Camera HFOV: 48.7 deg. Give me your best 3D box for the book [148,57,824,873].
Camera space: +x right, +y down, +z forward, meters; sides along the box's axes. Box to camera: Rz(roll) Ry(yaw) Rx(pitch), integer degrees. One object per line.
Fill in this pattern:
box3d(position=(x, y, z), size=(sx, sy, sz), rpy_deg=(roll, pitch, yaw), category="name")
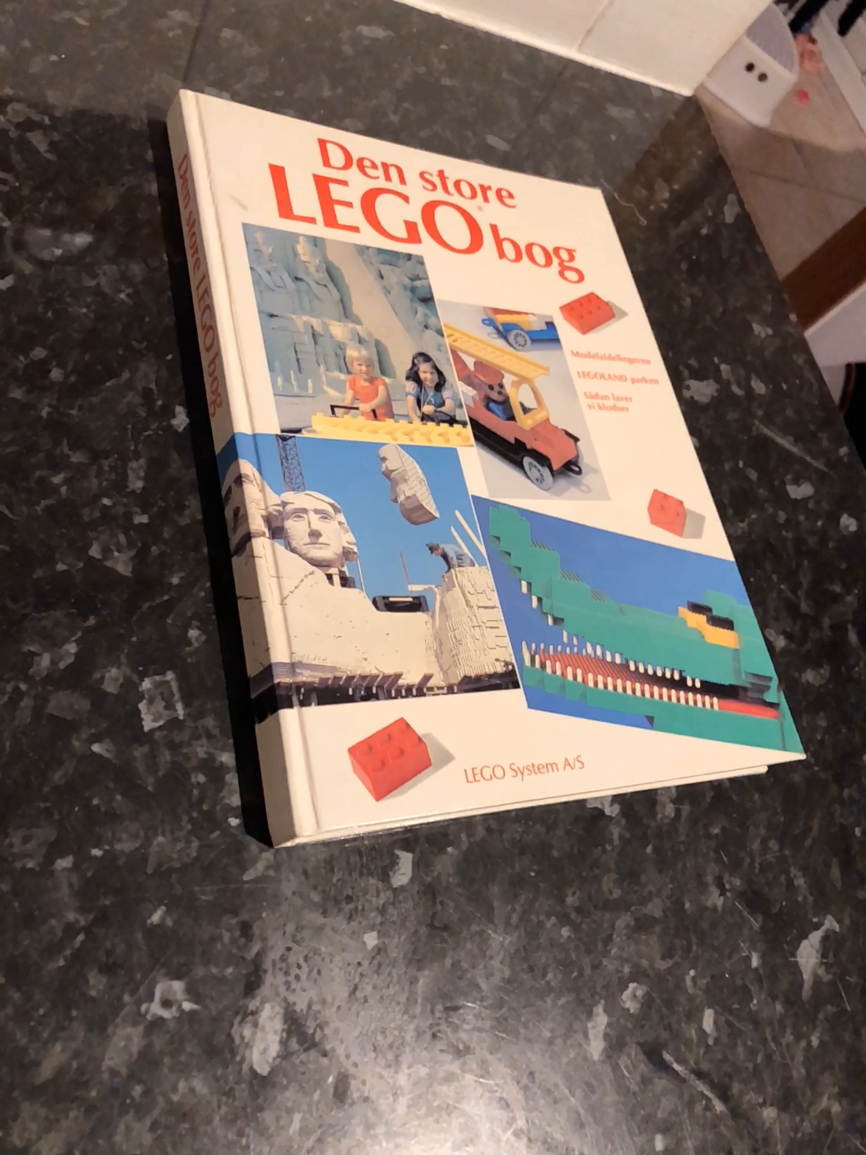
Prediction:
box3d(position=(0.016, -0.055, 0.365), size=(0.211, 0.030, 0.291), rpy_deg=(0, 65, -31), category="book")
